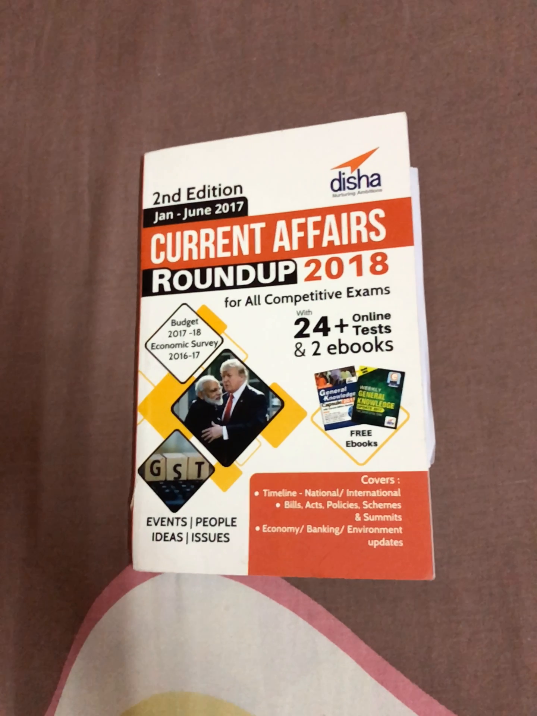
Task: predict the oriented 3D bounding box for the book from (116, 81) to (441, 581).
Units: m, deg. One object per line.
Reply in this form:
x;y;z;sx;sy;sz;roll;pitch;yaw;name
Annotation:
0.004;-0.013;0.292;0.140;0.040;0.220;-3;78;14;book
